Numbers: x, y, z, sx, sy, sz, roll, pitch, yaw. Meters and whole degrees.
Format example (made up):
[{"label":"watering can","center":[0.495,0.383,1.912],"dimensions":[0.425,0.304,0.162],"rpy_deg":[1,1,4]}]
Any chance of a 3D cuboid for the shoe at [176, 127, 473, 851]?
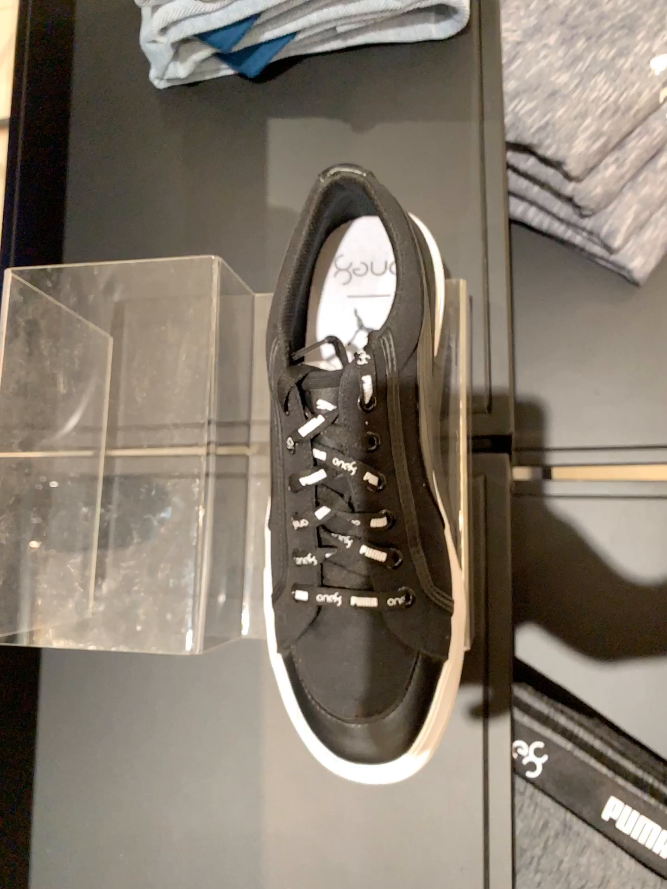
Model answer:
[{"label":"shoe","center":[0.006,0.014,0.330],"dimensions":[0.110,0.100,0.280],"rpy_deg":[-1,82,15]}]
